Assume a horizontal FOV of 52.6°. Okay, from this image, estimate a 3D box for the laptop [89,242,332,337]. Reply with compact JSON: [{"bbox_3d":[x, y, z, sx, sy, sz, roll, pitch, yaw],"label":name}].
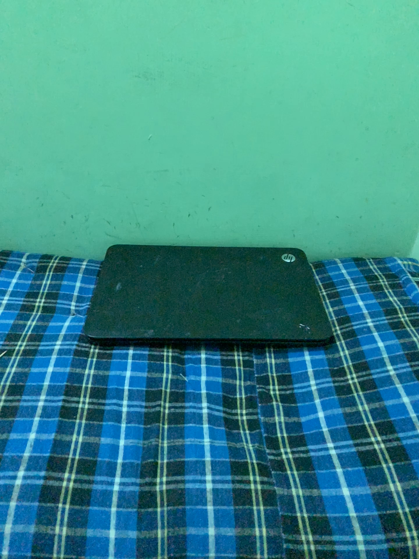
[{"bbox_3d":[0.000,0.008,0.693,0.346,0.018,0.218,1,38,-3],"label":"laptop"}]
